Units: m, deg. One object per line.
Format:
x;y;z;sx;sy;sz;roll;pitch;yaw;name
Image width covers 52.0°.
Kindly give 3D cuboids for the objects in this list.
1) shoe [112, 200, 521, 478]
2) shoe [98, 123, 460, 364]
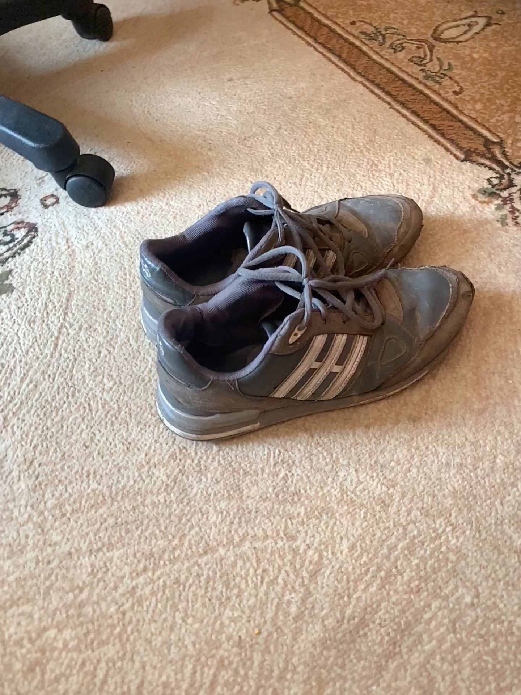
0.050;-0.009;0.461;0.313;0.099;0.117;-18;58;-6;shoe
0.015;-0.105;0.531;0.310;0.099;0.121;-18;58;-6;shoe
